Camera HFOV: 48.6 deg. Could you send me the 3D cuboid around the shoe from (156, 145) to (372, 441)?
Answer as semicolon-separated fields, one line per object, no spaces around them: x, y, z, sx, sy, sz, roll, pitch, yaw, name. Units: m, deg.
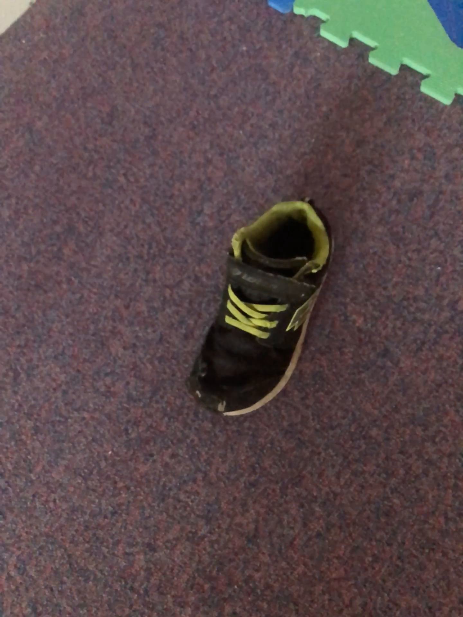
0.034;-0.010;0.445;0.090;0.100;0.220;21;77;13;shoe
